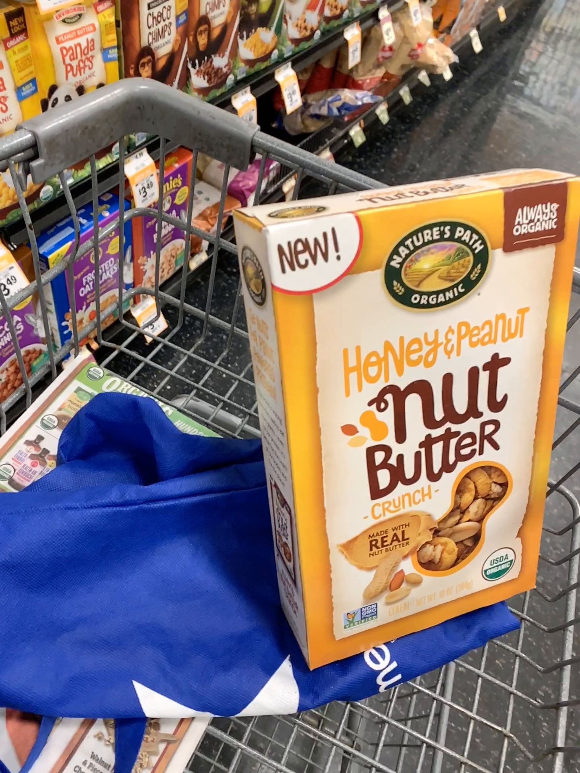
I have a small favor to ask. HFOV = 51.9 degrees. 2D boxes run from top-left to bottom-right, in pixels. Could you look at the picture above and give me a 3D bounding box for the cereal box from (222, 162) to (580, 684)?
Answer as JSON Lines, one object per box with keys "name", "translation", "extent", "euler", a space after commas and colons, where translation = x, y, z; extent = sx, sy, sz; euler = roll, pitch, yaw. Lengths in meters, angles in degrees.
{"name": "cereal box", "translation": [0.064, 0.022, 0.306], "extent": [0.160, 0.239, 0.050], "euler": [-13, 27, -16]}
